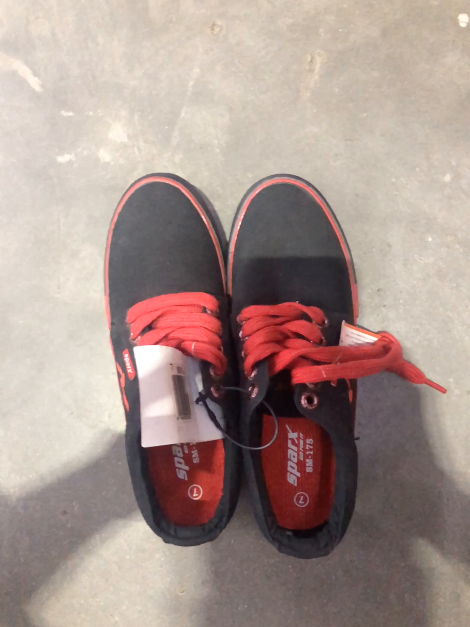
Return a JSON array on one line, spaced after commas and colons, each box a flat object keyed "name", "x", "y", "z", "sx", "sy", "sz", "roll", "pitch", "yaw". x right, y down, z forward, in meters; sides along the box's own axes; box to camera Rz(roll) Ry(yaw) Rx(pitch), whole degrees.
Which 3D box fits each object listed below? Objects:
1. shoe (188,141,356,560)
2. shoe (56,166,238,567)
[{"name": "shoe", "x": 0.026, "y": 0.022, "z": 0.365, "sx": 0.100, "sy": 0.100, "sz": 0.250, "roll": 0, "pitch": 87, "yaw": 5}, {"name": "shoe", "x": -0.065, "y": 0.031, "z": 0.385, "sx": 0.100, "sy": 0.100, "sz": 0.250, "roll": -4, "pitch": 87, "yaw": -10}]
